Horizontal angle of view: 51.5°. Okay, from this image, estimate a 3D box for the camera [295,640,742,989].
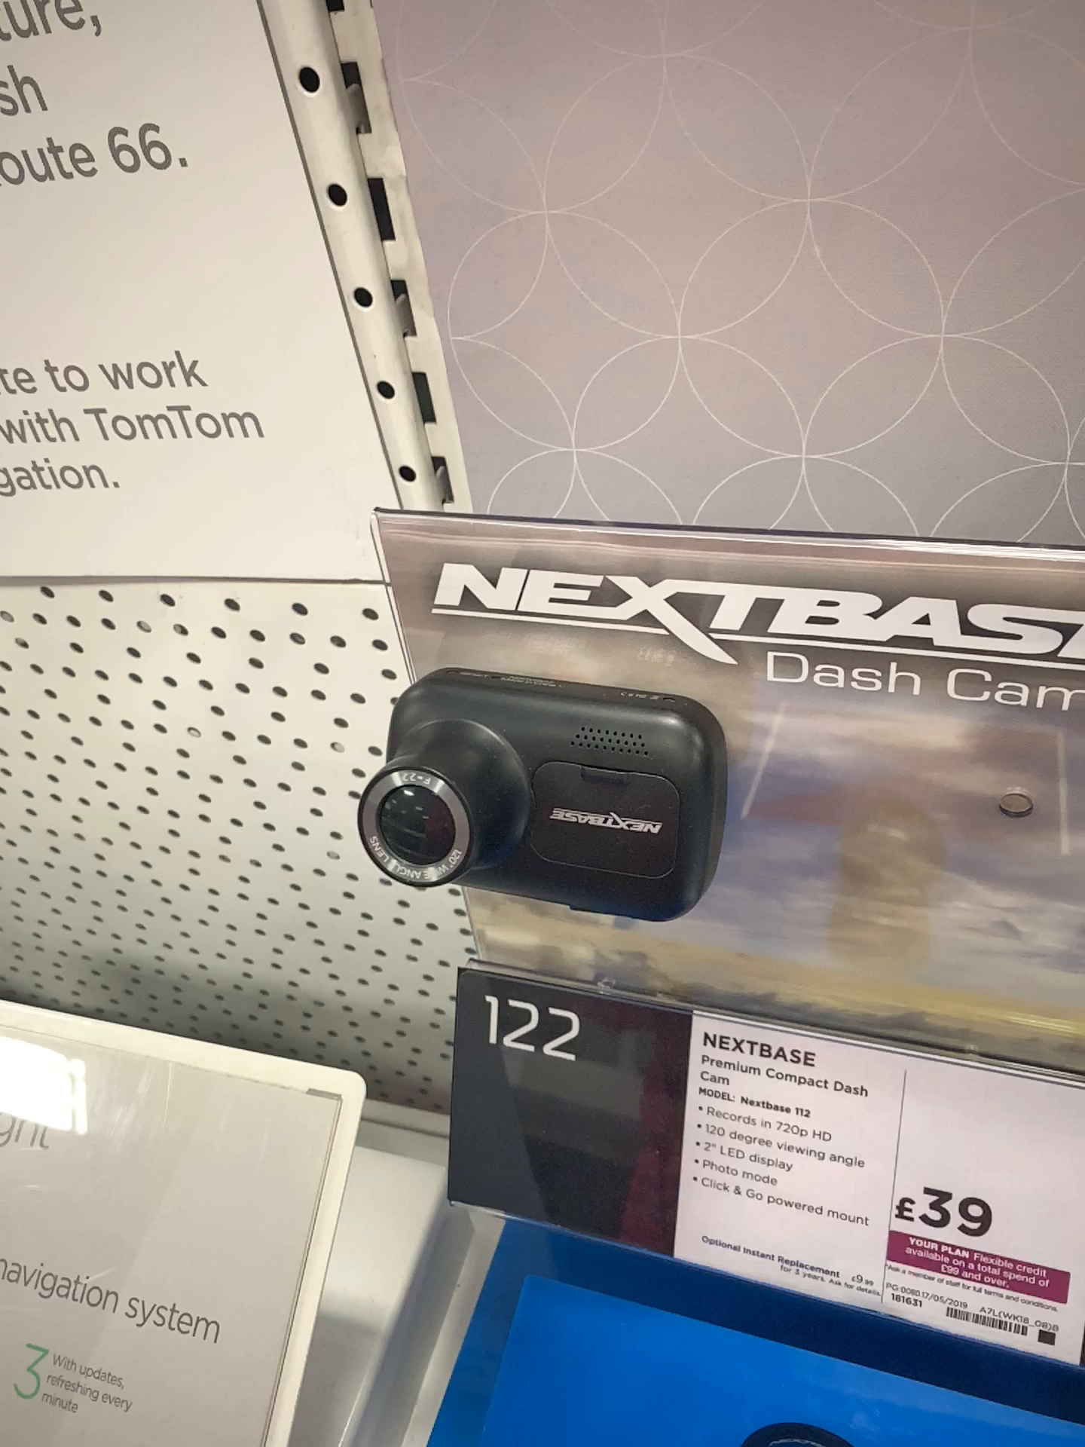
[{"bbox_3d":[-0.004,0.015,0.250,0.080,0.050,0.060,8,15,21],"label":"camera"}]
